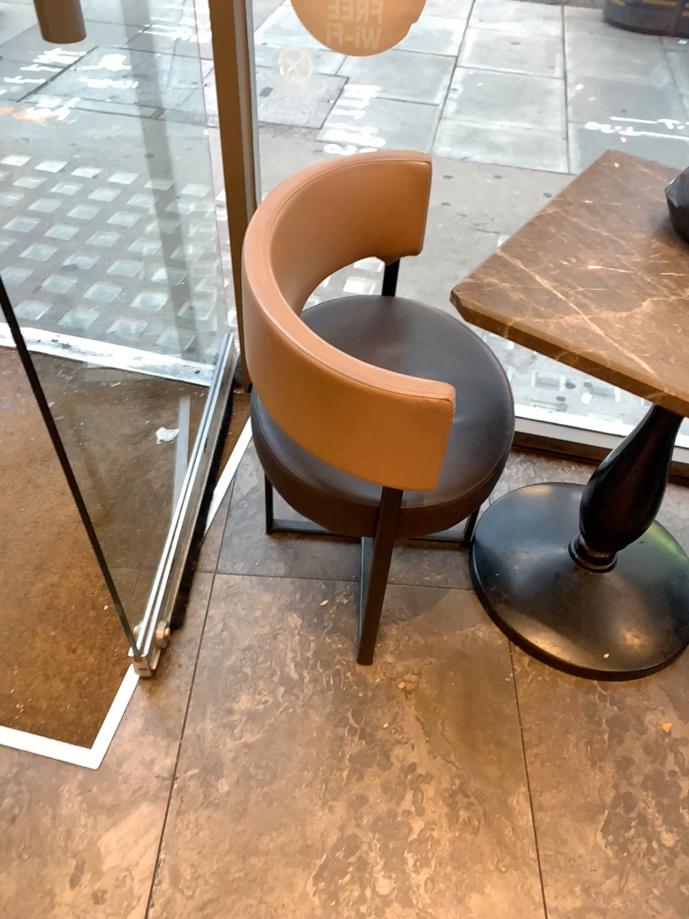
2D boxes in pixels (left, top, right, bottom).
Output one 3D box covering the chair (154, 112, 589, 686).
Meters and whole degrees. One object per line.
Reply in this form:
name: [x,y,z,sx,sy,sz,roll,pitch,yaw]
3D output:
chair: [0.083,-0.132,1.307,0.510,0.654,0.767,10,47,6]
